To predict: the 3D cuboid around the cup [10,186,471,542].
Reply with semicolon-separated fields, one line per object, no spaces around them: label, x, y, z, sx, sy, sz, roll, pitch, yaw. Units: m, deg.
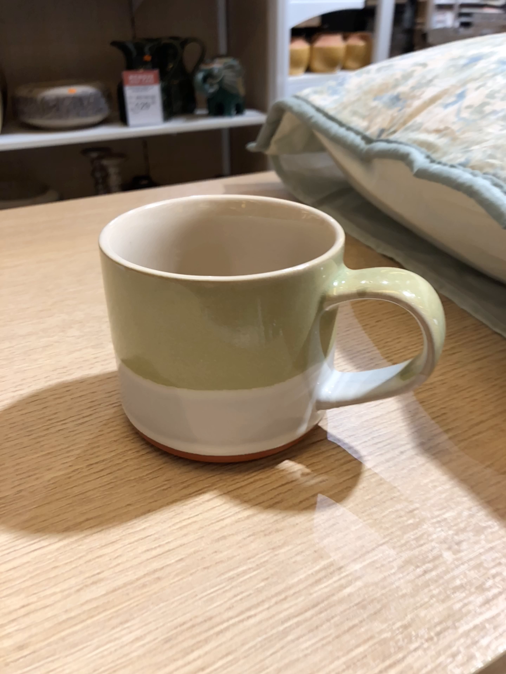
cup;0.004;-0.002;0.224;0.140;0.079;0.101;8;31;15
